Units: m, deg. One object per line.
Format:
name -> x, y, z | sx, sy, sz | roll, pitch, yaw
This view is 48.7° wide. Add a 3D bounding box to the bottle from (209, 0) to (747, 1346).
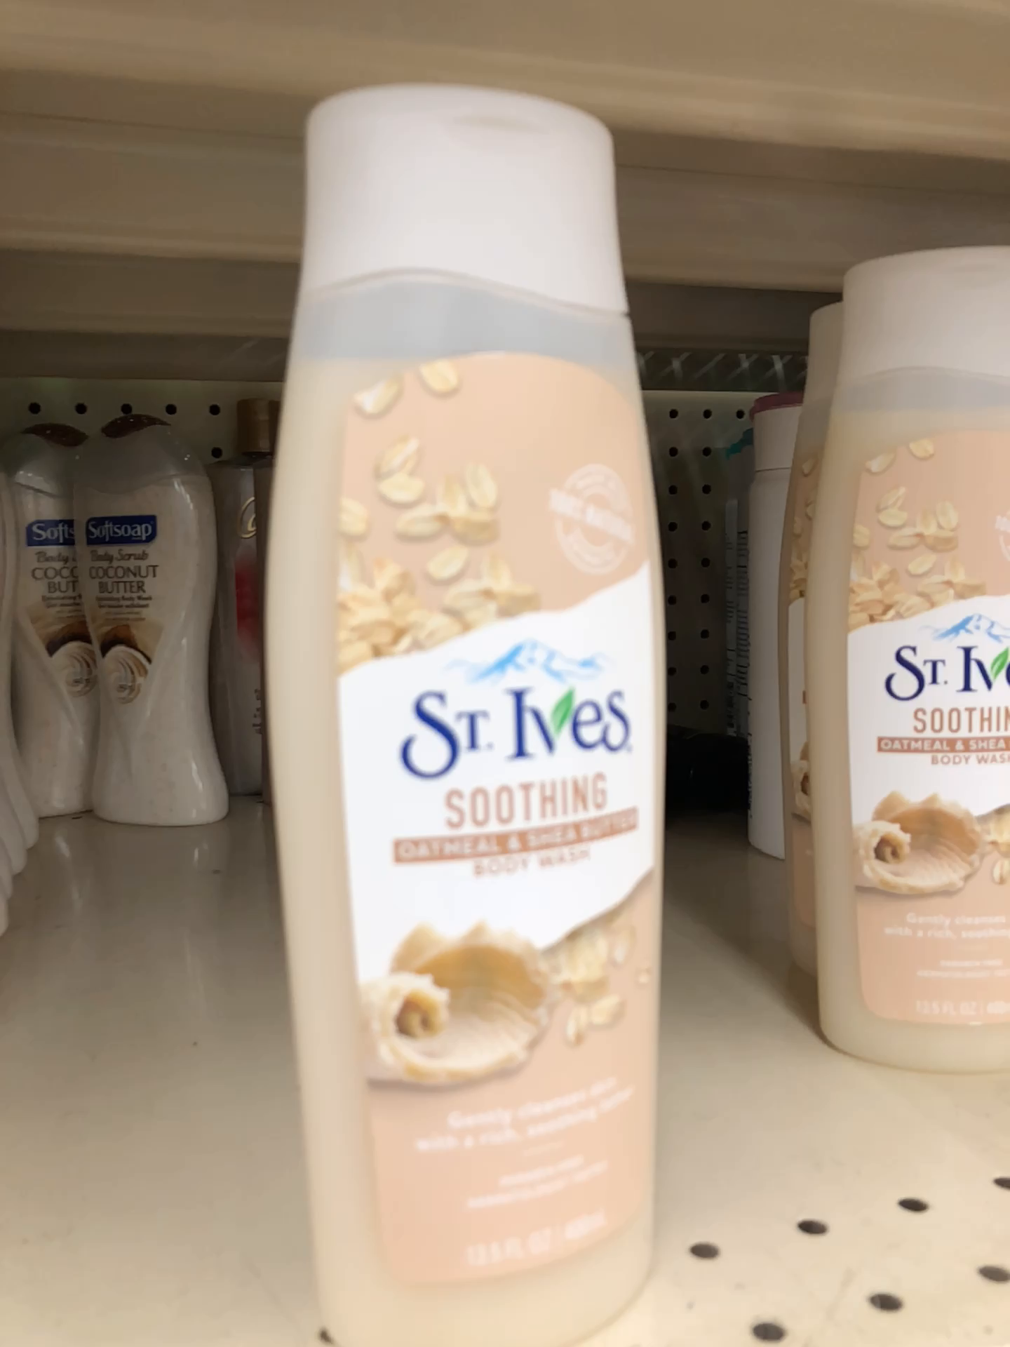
bottle -> -0.005, 0.006, 0.209 | 0.080, 0.230, 0.050 | -4, 9, -23
